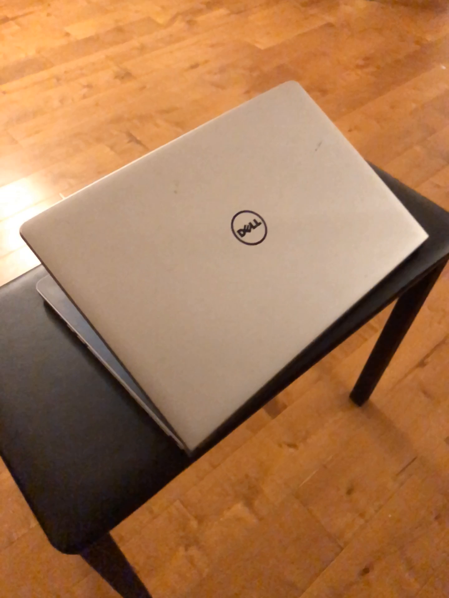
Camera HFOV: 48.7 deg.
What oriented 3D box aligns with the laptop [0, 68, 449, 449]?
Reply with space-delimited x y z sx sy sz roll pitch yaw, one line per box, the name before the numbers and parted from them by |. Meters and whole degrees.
laptop | 0.015 -0.075 0.515 0.366 0.107 0.248 -38 63 -25
